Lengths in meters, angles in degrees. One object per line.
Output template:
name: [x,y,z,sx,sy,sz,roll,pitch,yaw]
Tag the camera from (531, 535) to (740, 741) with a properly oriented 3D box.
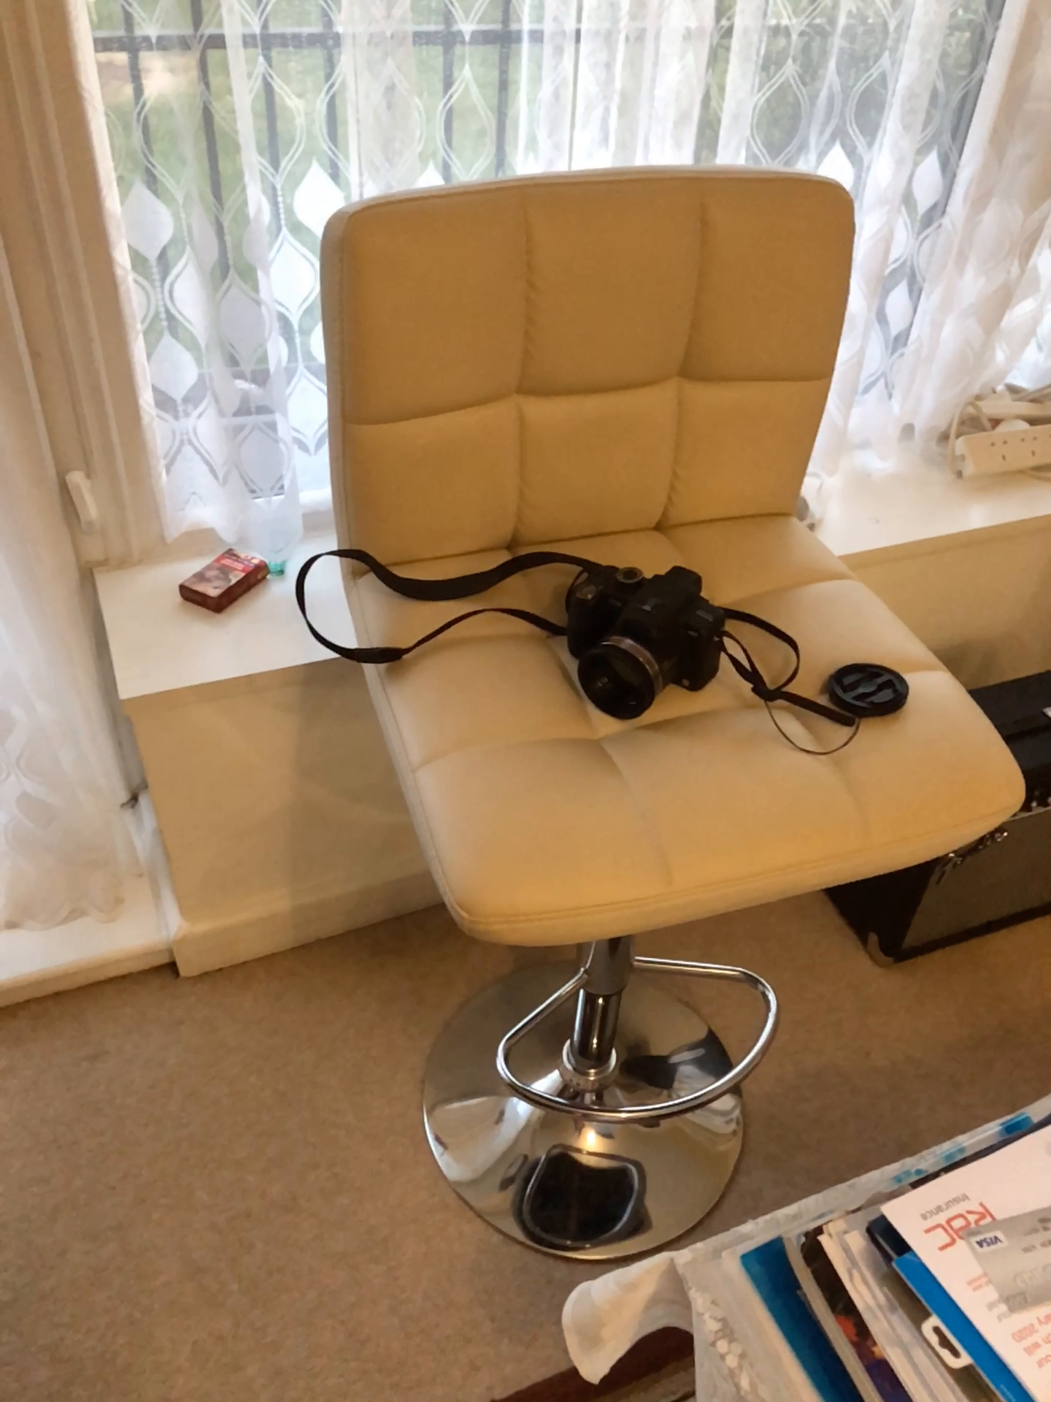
camera: [0.078,-0.048,0.826,0.112,0.076,0.098,22,44,21]
